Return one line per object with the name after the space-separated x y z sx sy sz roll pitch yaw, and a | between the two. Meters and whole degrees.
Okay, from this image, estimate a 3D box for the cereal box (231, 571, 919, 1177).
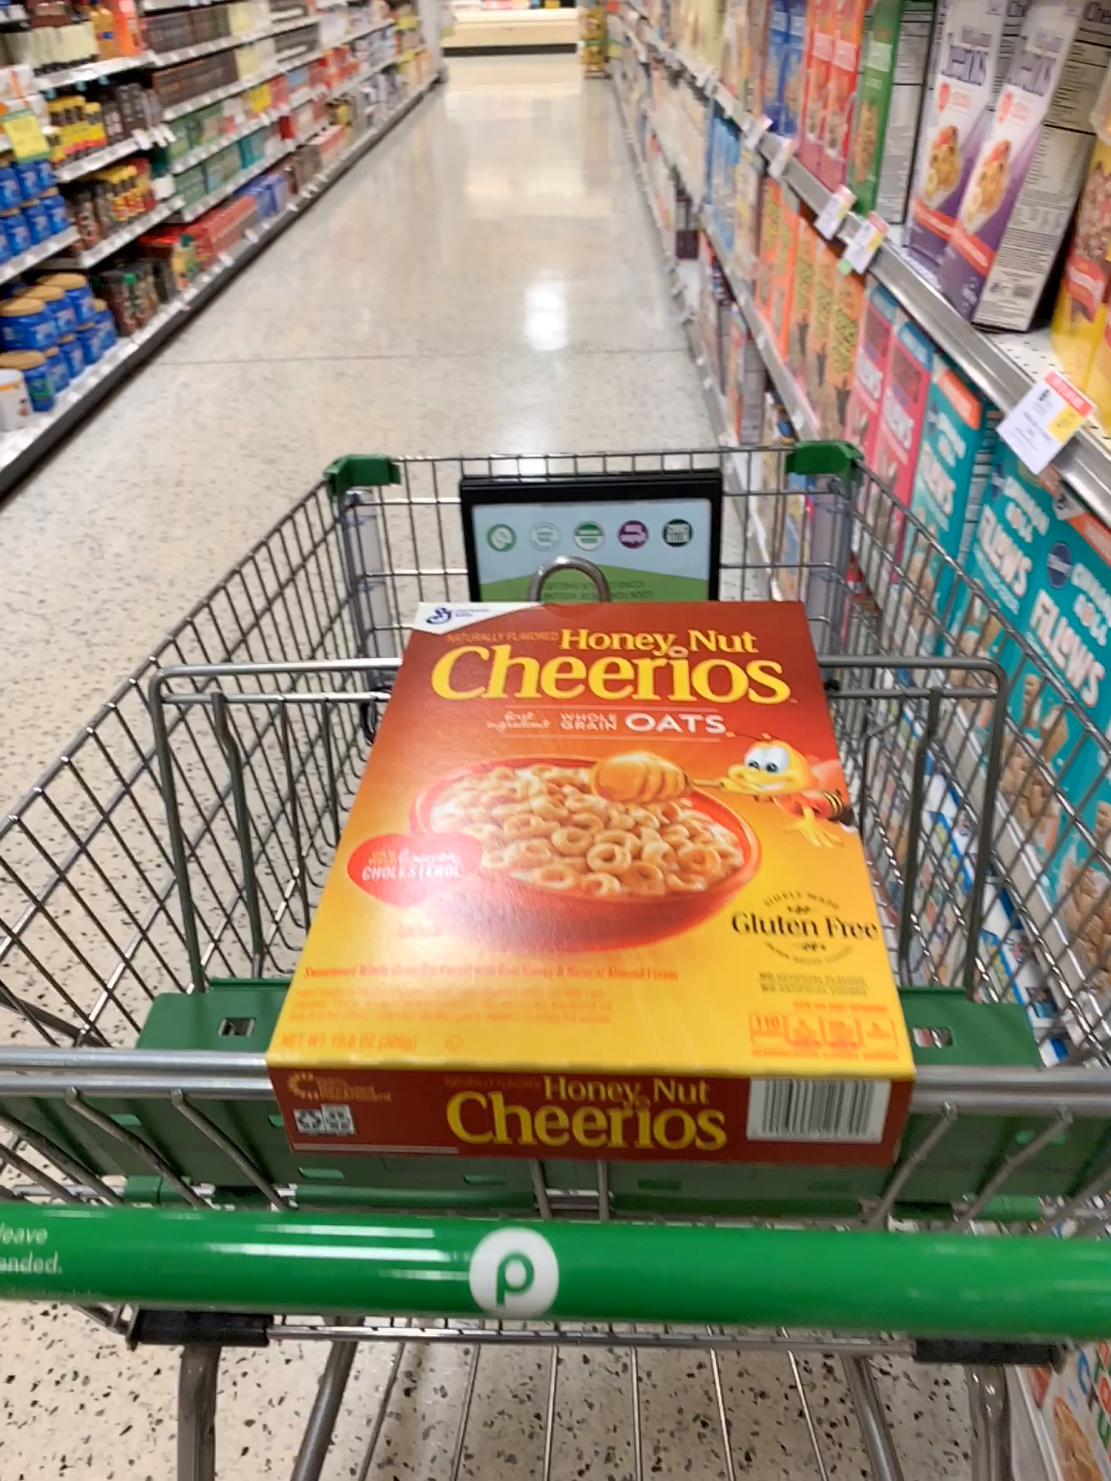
0.013 0.027 0.468 0.200 0.059 0.293 0 36 4 | cereal box
